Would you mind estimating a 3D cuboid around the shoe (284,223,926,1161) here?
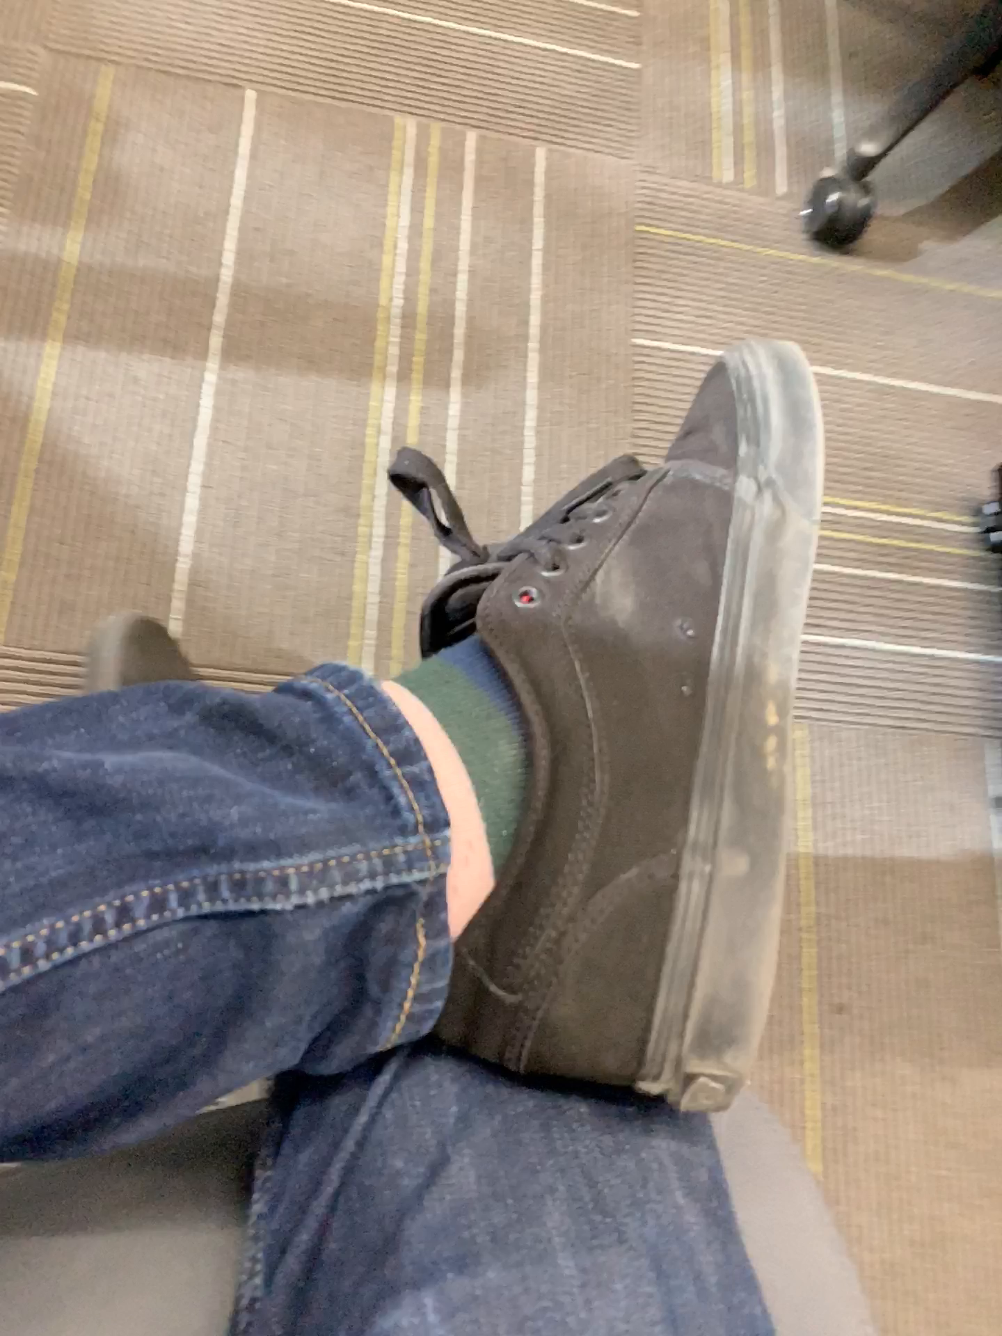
[{"bbox_3d":[0.040,0.006,0.354,0.134,0.120,0.260,15,71,2],"label":"shoe"}]
